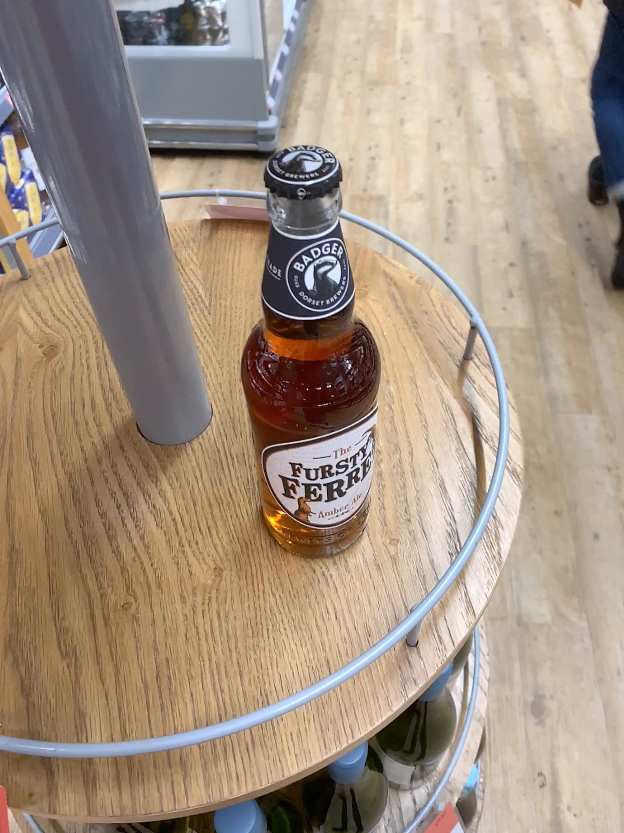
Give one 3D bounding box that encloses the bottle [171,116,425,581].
[{"bbox_3d":[-0.004,-0.013,0.325,0.069,0.231,0.076,-21,53,-15],"label":"bottle"}]
